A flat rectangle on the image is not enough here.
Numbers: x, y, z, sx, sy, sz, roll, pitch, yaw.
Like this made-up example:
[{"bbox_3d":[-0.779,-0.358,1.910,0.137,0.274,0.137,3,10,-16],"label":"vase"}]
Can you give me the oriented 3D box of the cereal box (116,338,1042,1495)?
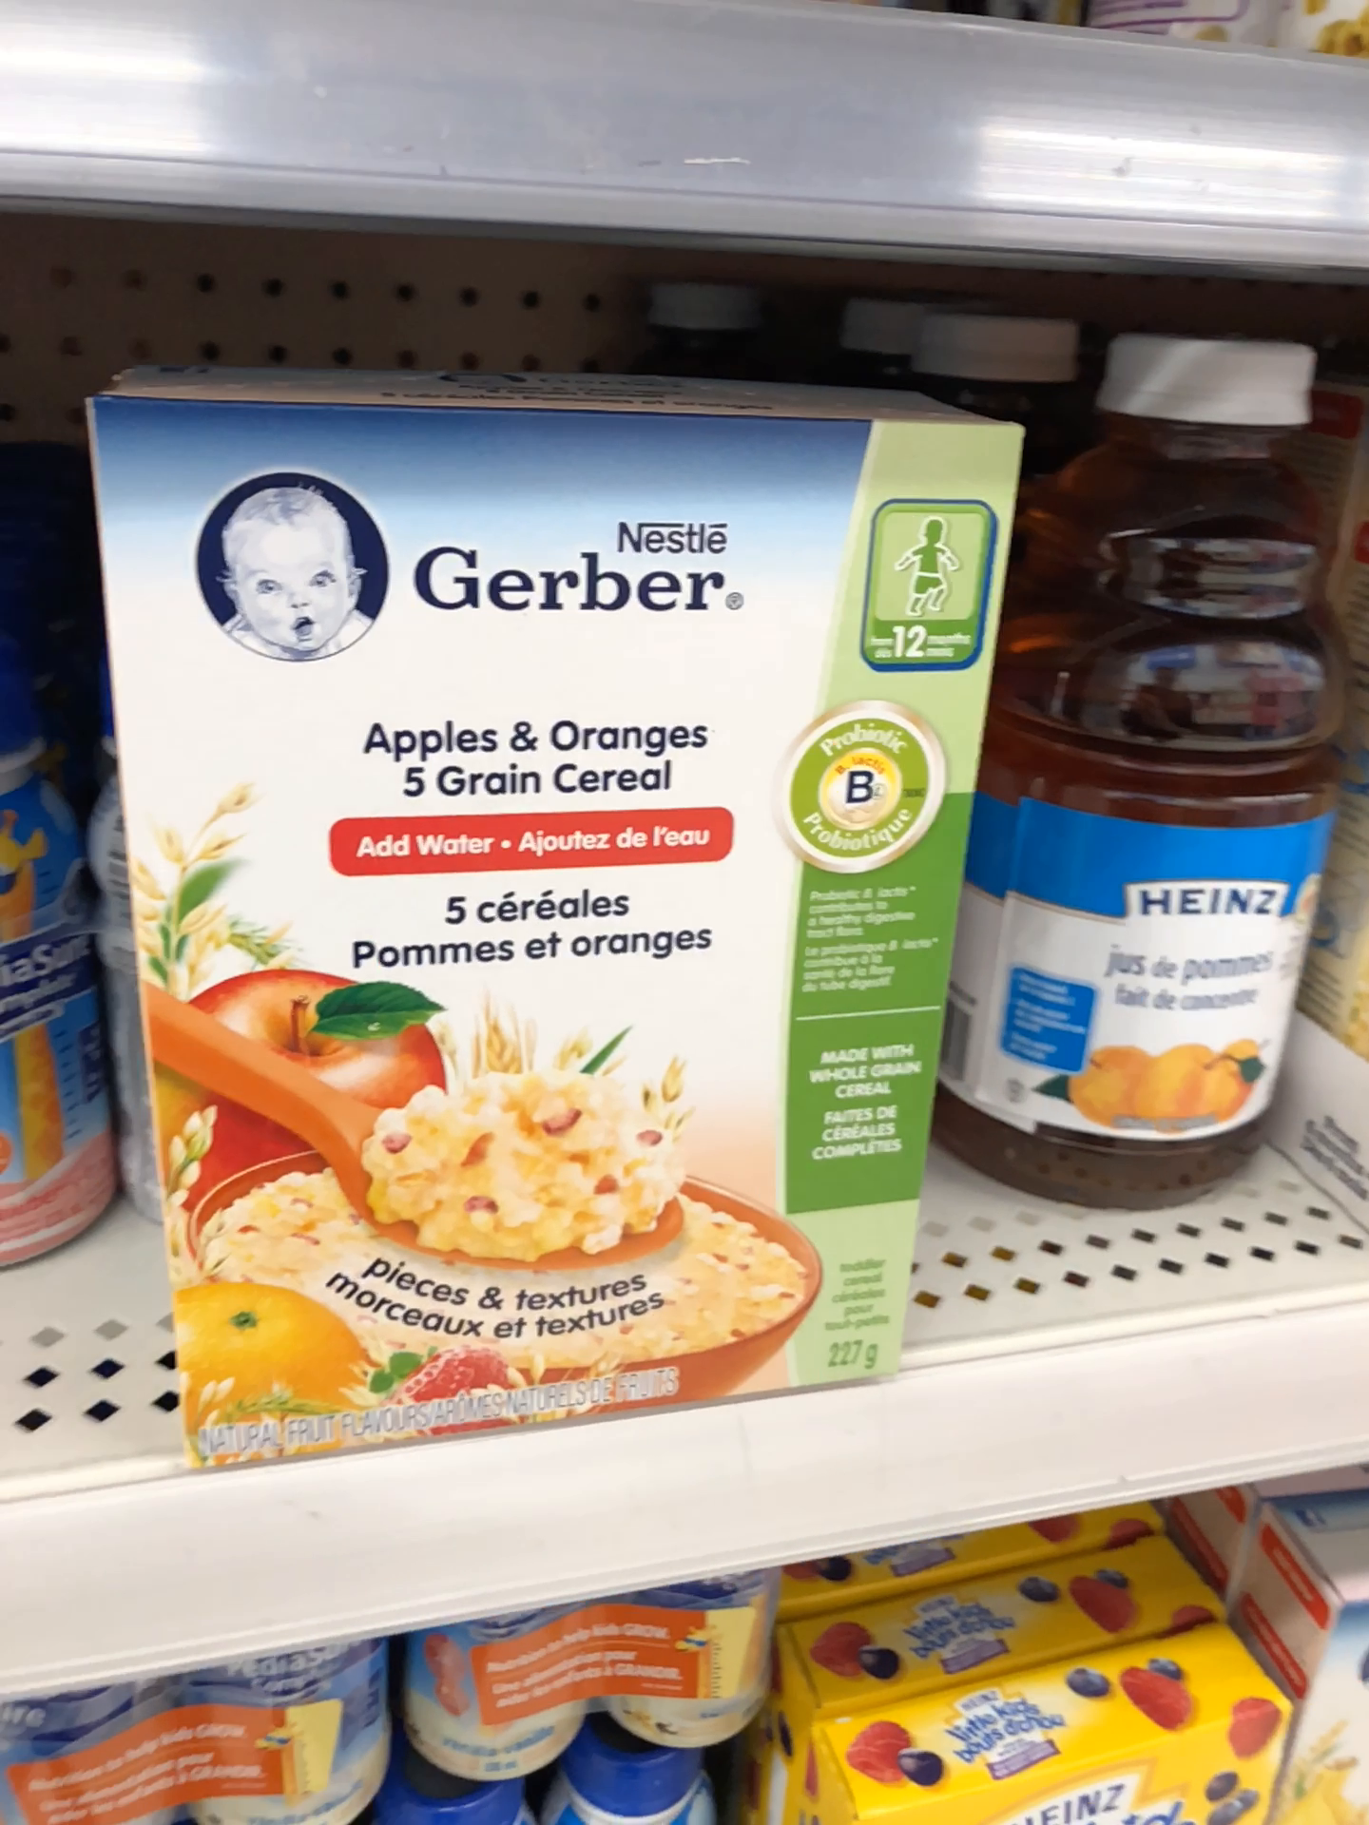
[{"bbox_3d":[-0.023,0.004,0.286,0.140,0.199,0.050,-3,24,-16],"label":"cereal box"}]
